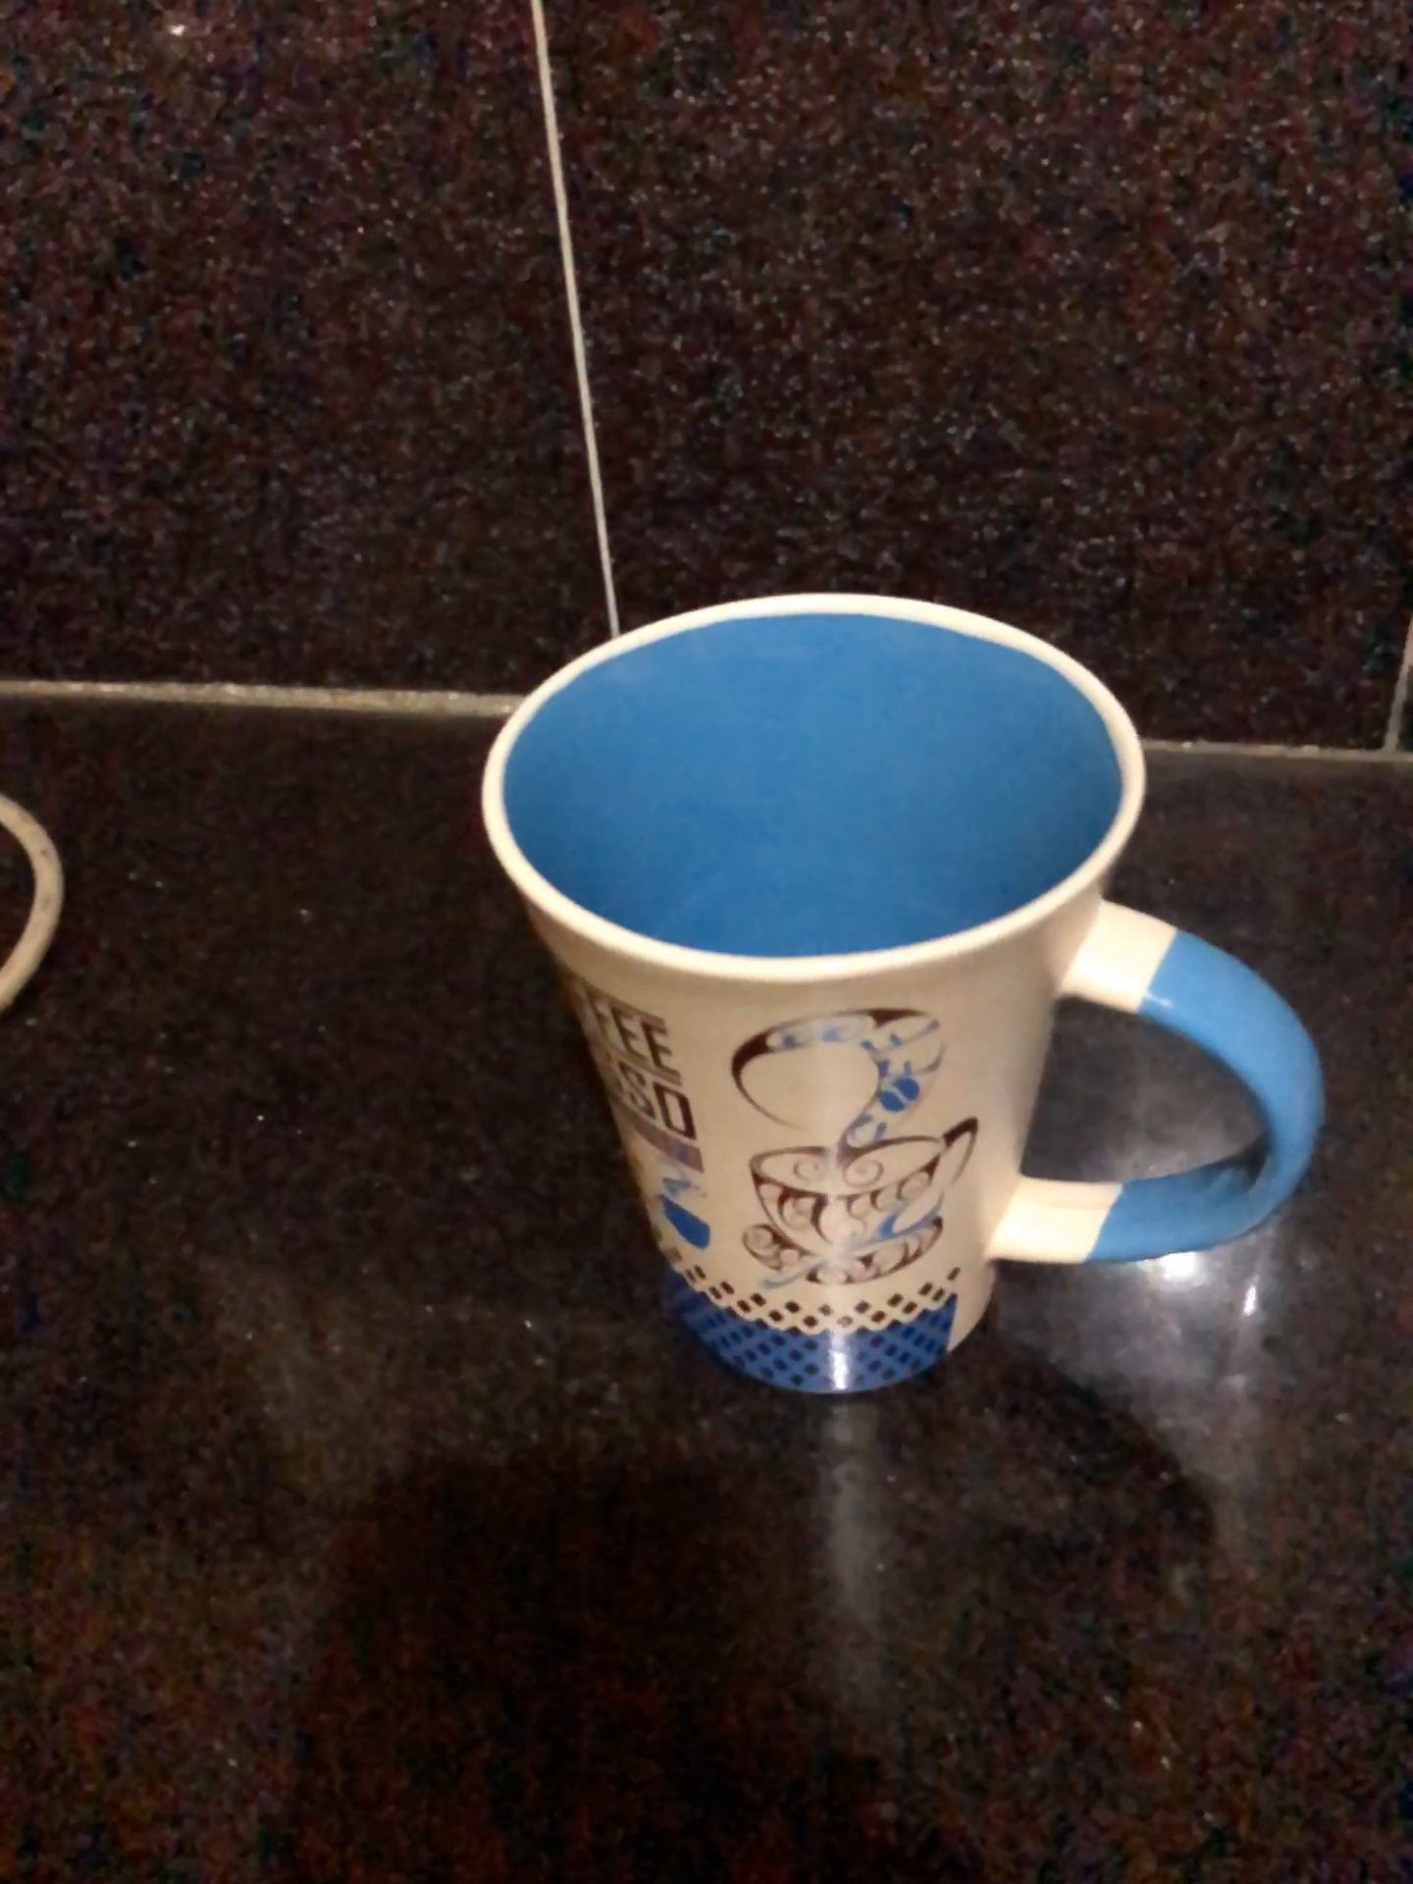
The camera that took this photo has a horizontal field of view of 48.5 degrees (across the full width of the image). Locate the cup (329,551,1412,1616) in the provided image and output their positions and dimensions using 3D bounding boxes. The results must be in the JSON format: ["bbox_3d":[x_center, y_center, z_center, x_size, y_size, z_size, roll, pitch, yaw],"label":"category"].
[{"bbox_3d":[0.032,0.017,0.249,0.130,0.109,0.091,13,44,20],"label":"cup"}]
